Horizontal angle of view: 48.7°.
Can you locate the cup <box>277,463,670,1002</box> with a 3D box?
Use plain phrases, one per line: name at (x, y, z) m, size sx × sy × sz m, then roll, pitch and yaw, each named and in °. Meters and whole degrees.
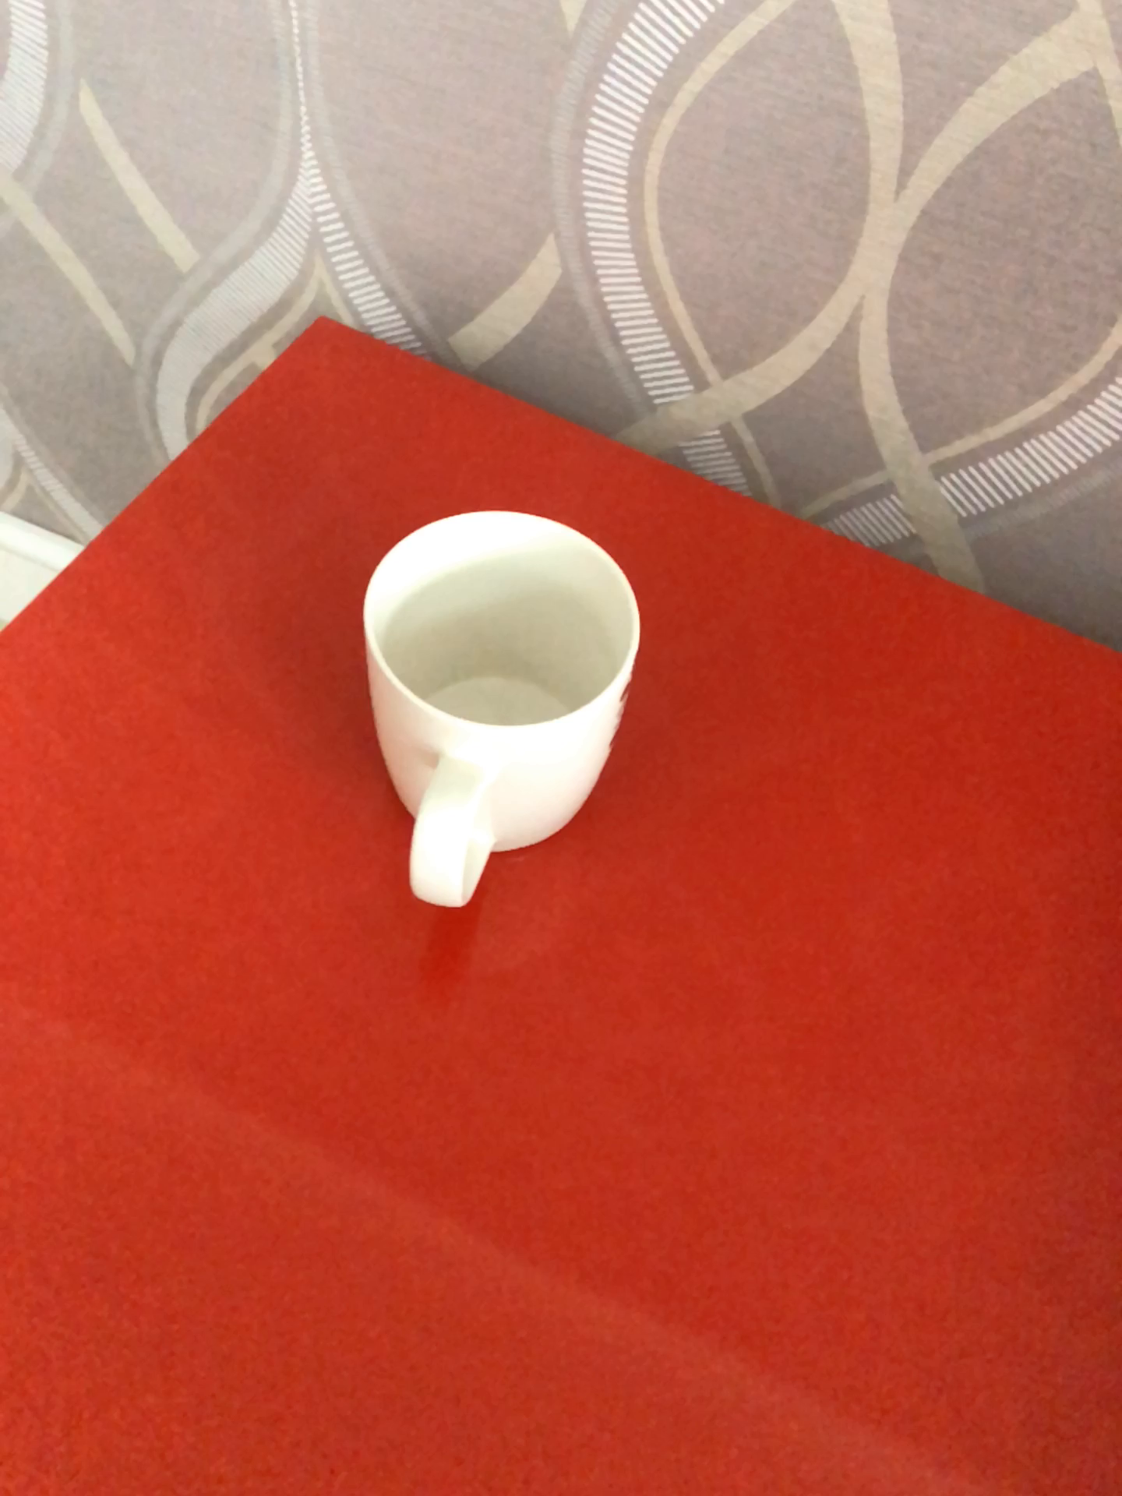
cup at (-0.026, -0.002, 0.420) m, size 0.090 × 0.119 × 0.121 m, roll 13°, pitch 56°, yaw 3°
